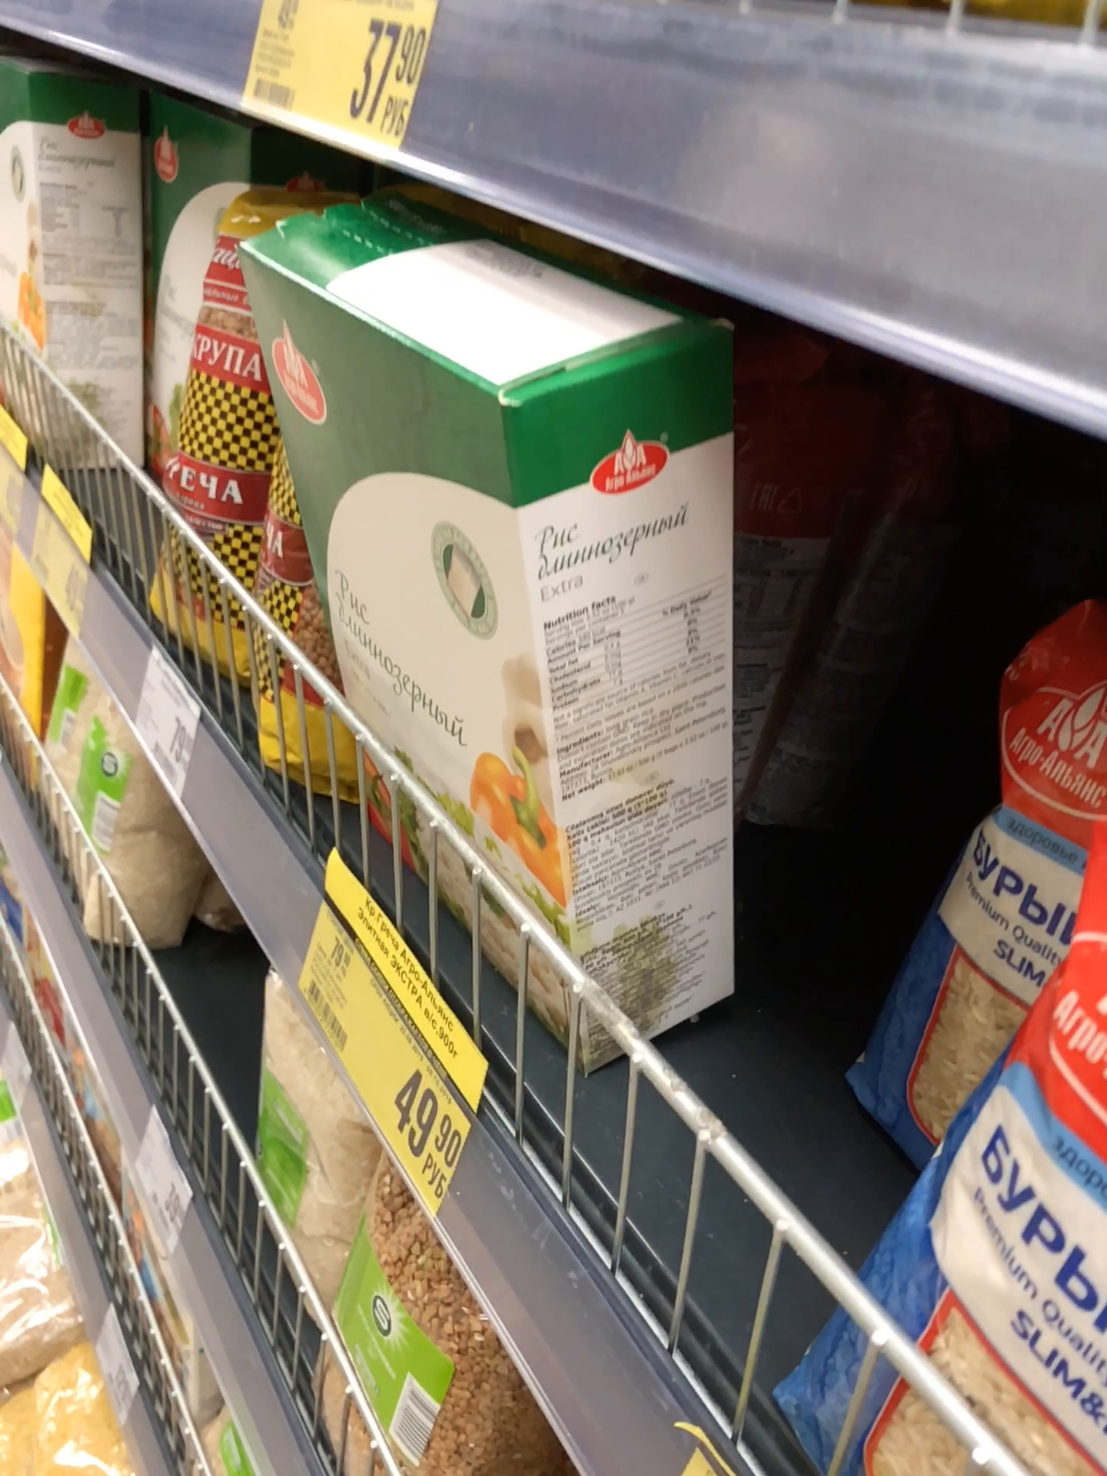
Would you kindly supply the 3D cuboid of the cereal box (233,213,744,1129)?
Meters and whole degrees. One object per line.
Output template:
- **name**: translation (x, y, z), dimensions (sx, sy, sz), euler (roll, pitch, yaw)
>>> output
- **cereal box**: translation (-0.013, -0.016, 0.337), dimensions (0.050, 0.209, 0.141), euler (-25, 41, -22)
